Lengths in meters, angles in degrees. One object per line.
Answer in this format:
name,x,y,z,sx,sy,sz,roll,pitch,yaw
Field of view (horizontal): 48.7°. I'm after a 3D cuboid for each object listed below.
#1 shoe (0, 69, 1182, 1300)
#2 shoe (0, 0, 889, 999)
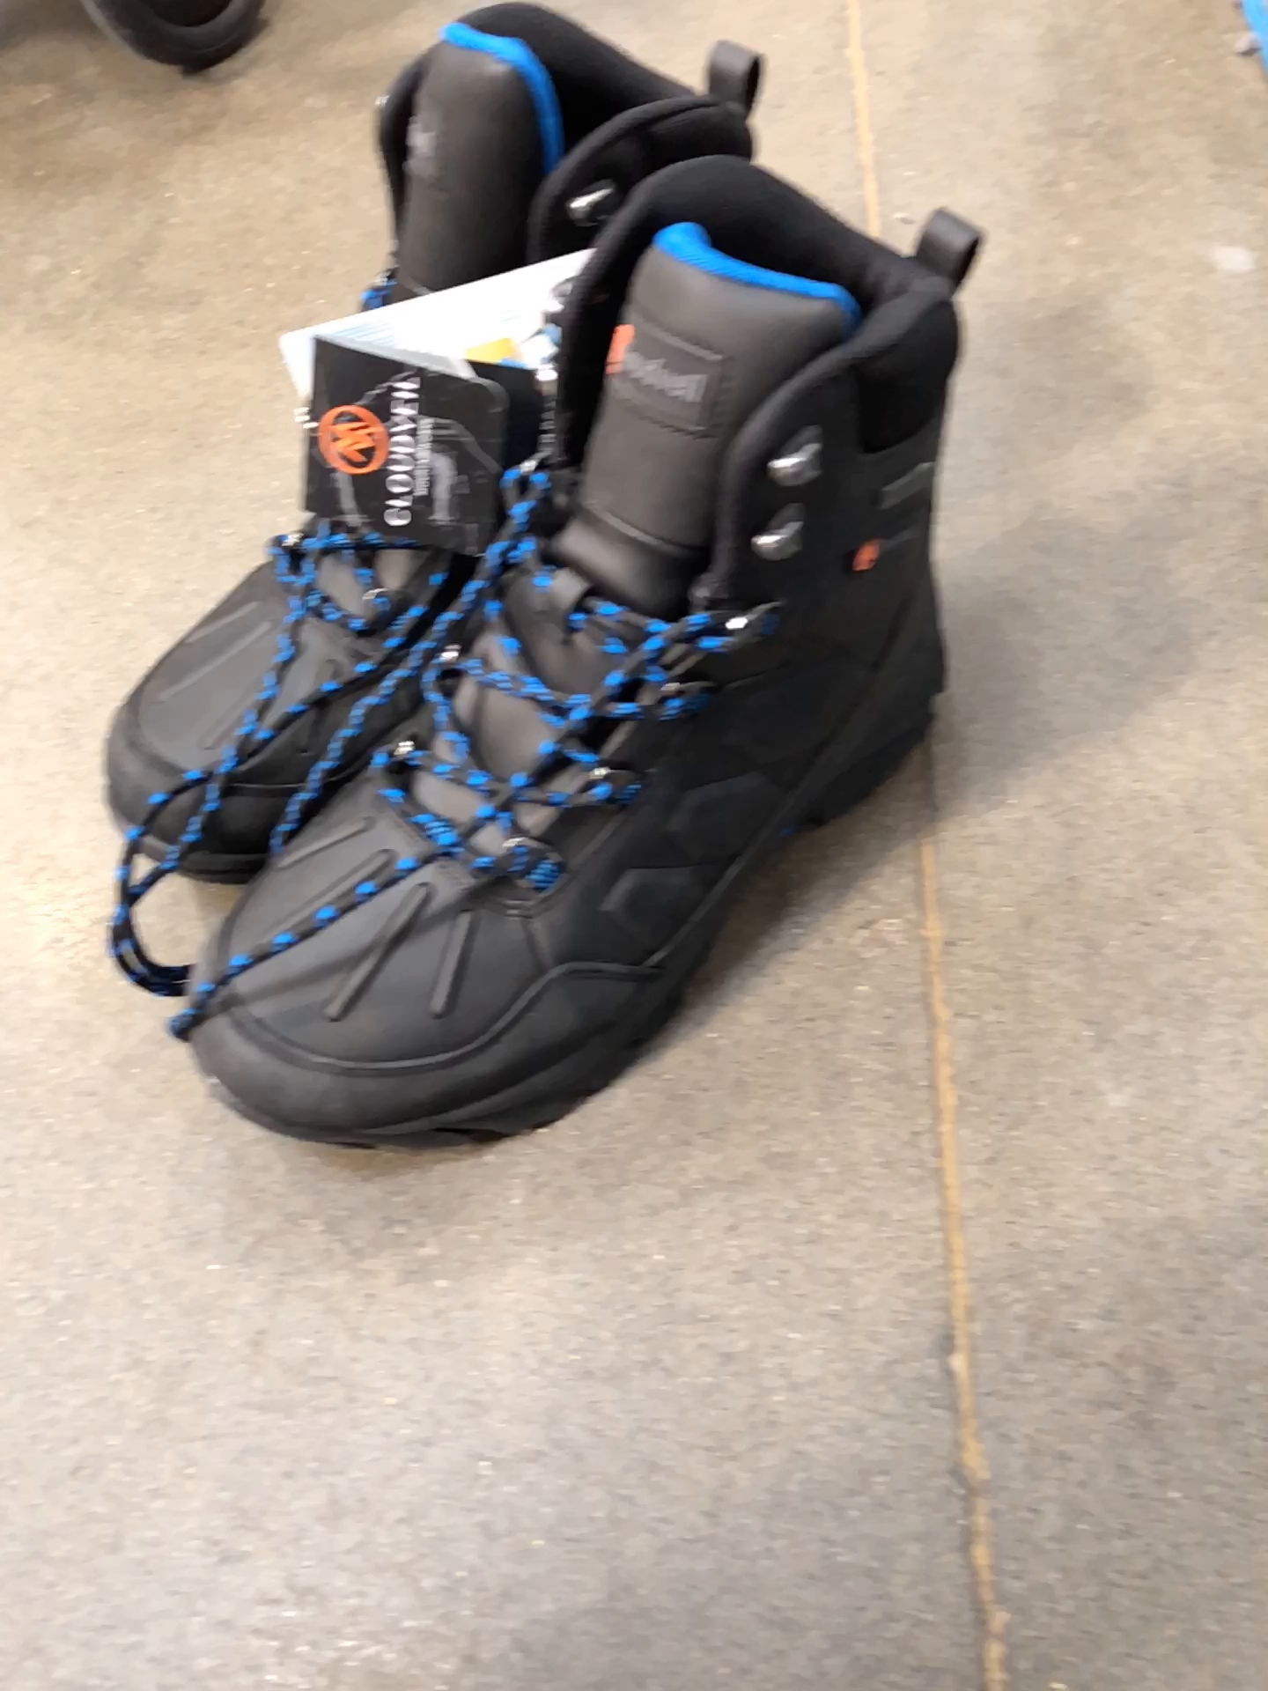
shoe,-0.012,-0.041,0.412,0.300,0.210,0.120,-37,62,-18
shoe,-0.065,-0.131,0.475,0.120,0.210,0.300,38,67,25
